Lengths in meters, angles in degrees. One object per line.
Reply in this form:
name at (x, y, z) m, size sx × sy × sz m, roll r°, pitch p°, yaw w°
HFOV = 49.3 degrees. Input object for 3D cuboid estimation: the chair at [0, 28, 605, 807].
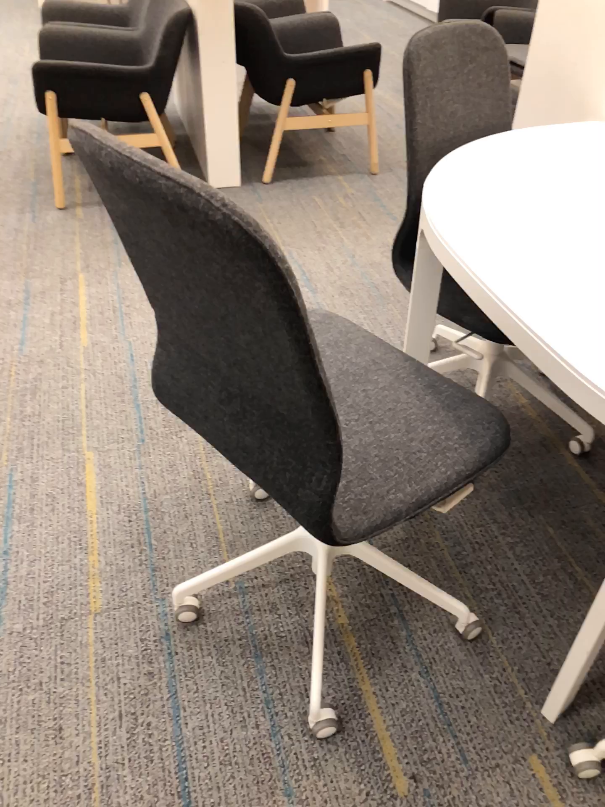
chair at (0.043, 0.008, 1.132) m, size 0.632 × 0.993 × 0.633 m, roll -27°, pitch 47°, yaw -30°
